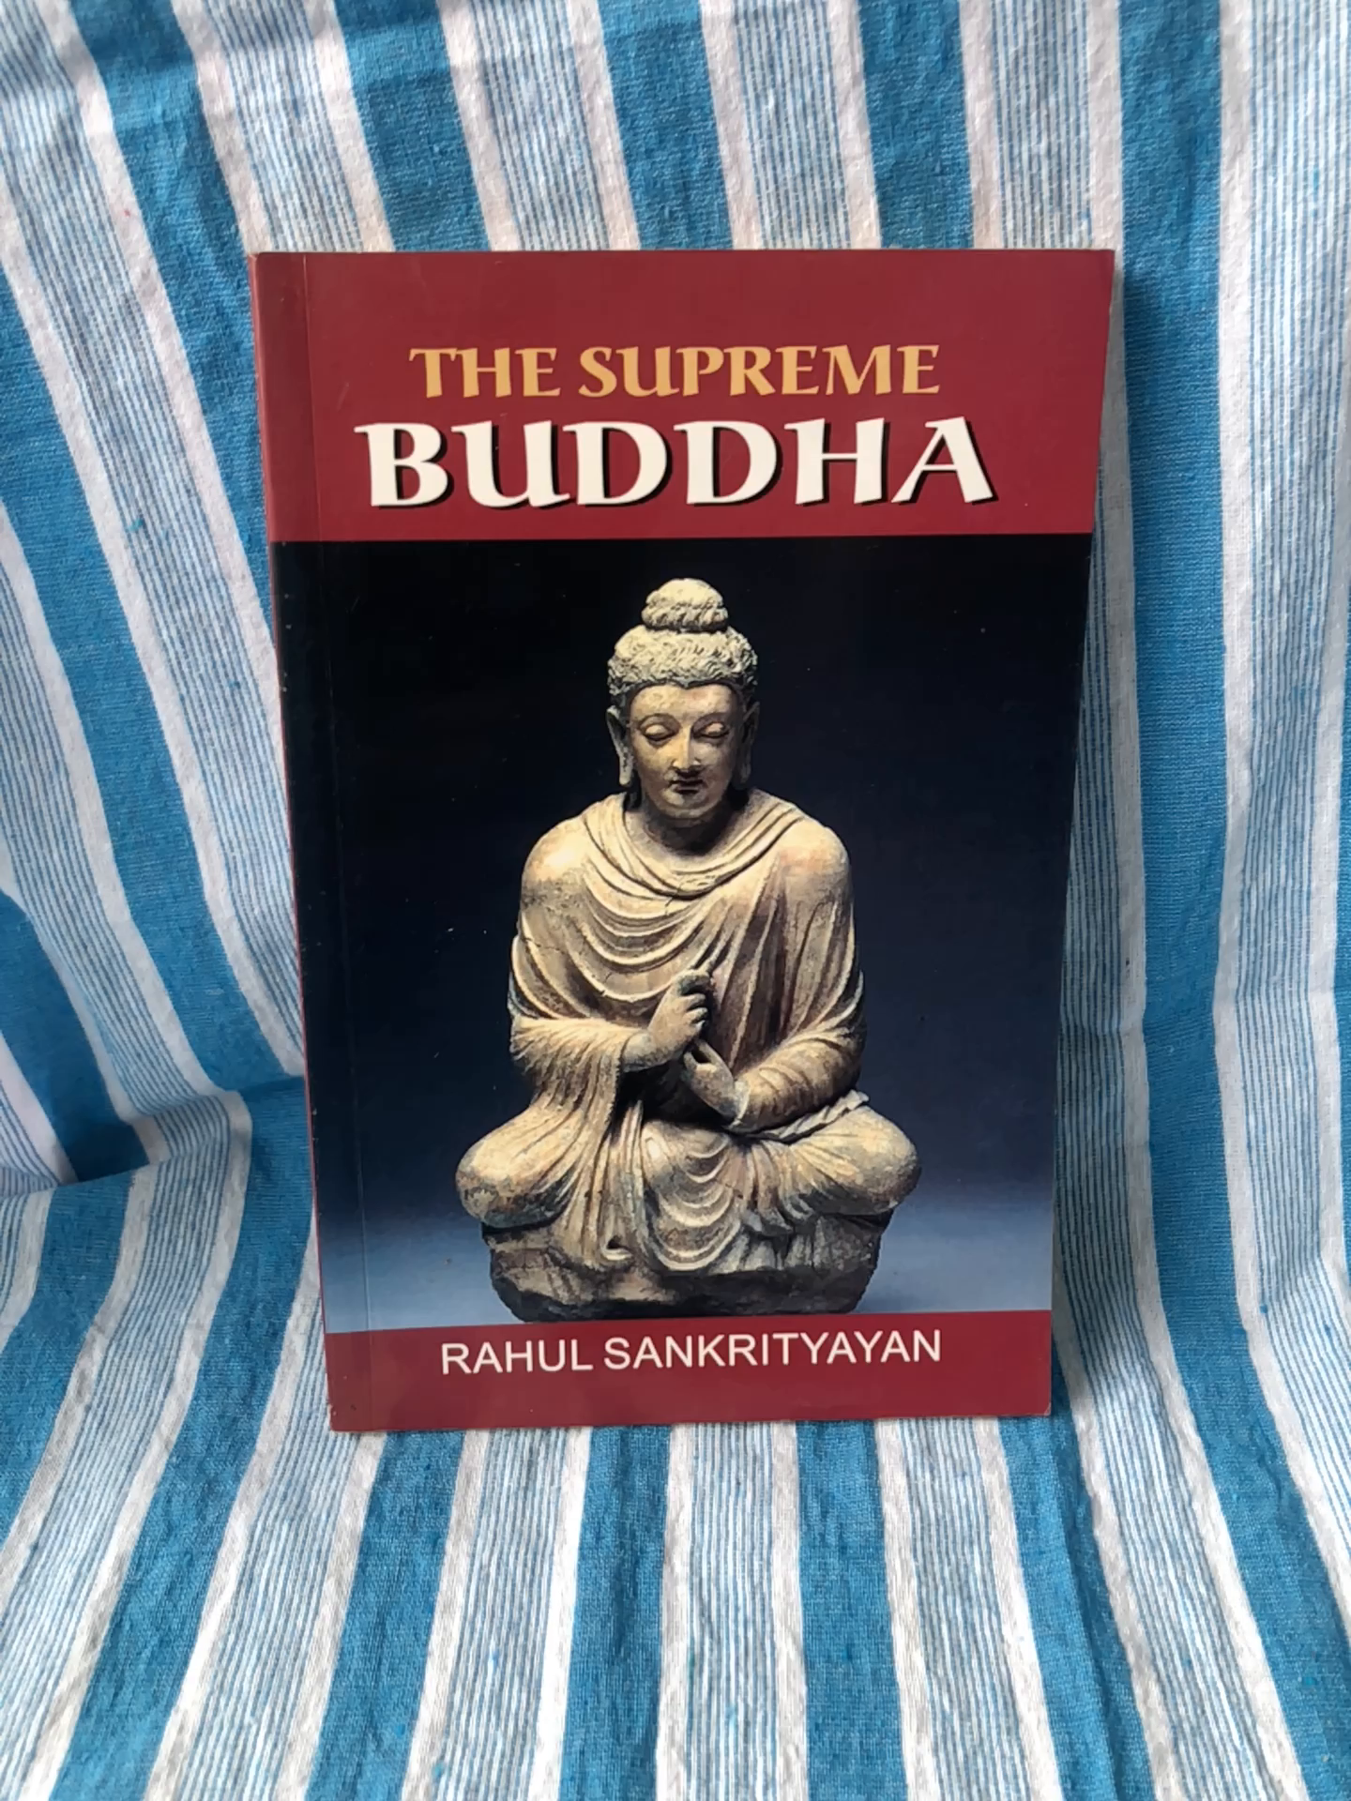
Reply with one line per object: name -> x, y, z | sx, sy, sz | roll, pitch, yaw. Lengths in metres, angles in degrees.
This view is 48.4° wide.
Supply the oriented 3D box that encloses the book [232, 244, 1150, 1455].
book -> 0.004, -0.003, 0.280 | 0.150, 0.219, 0.020 | -1, 13, -1
